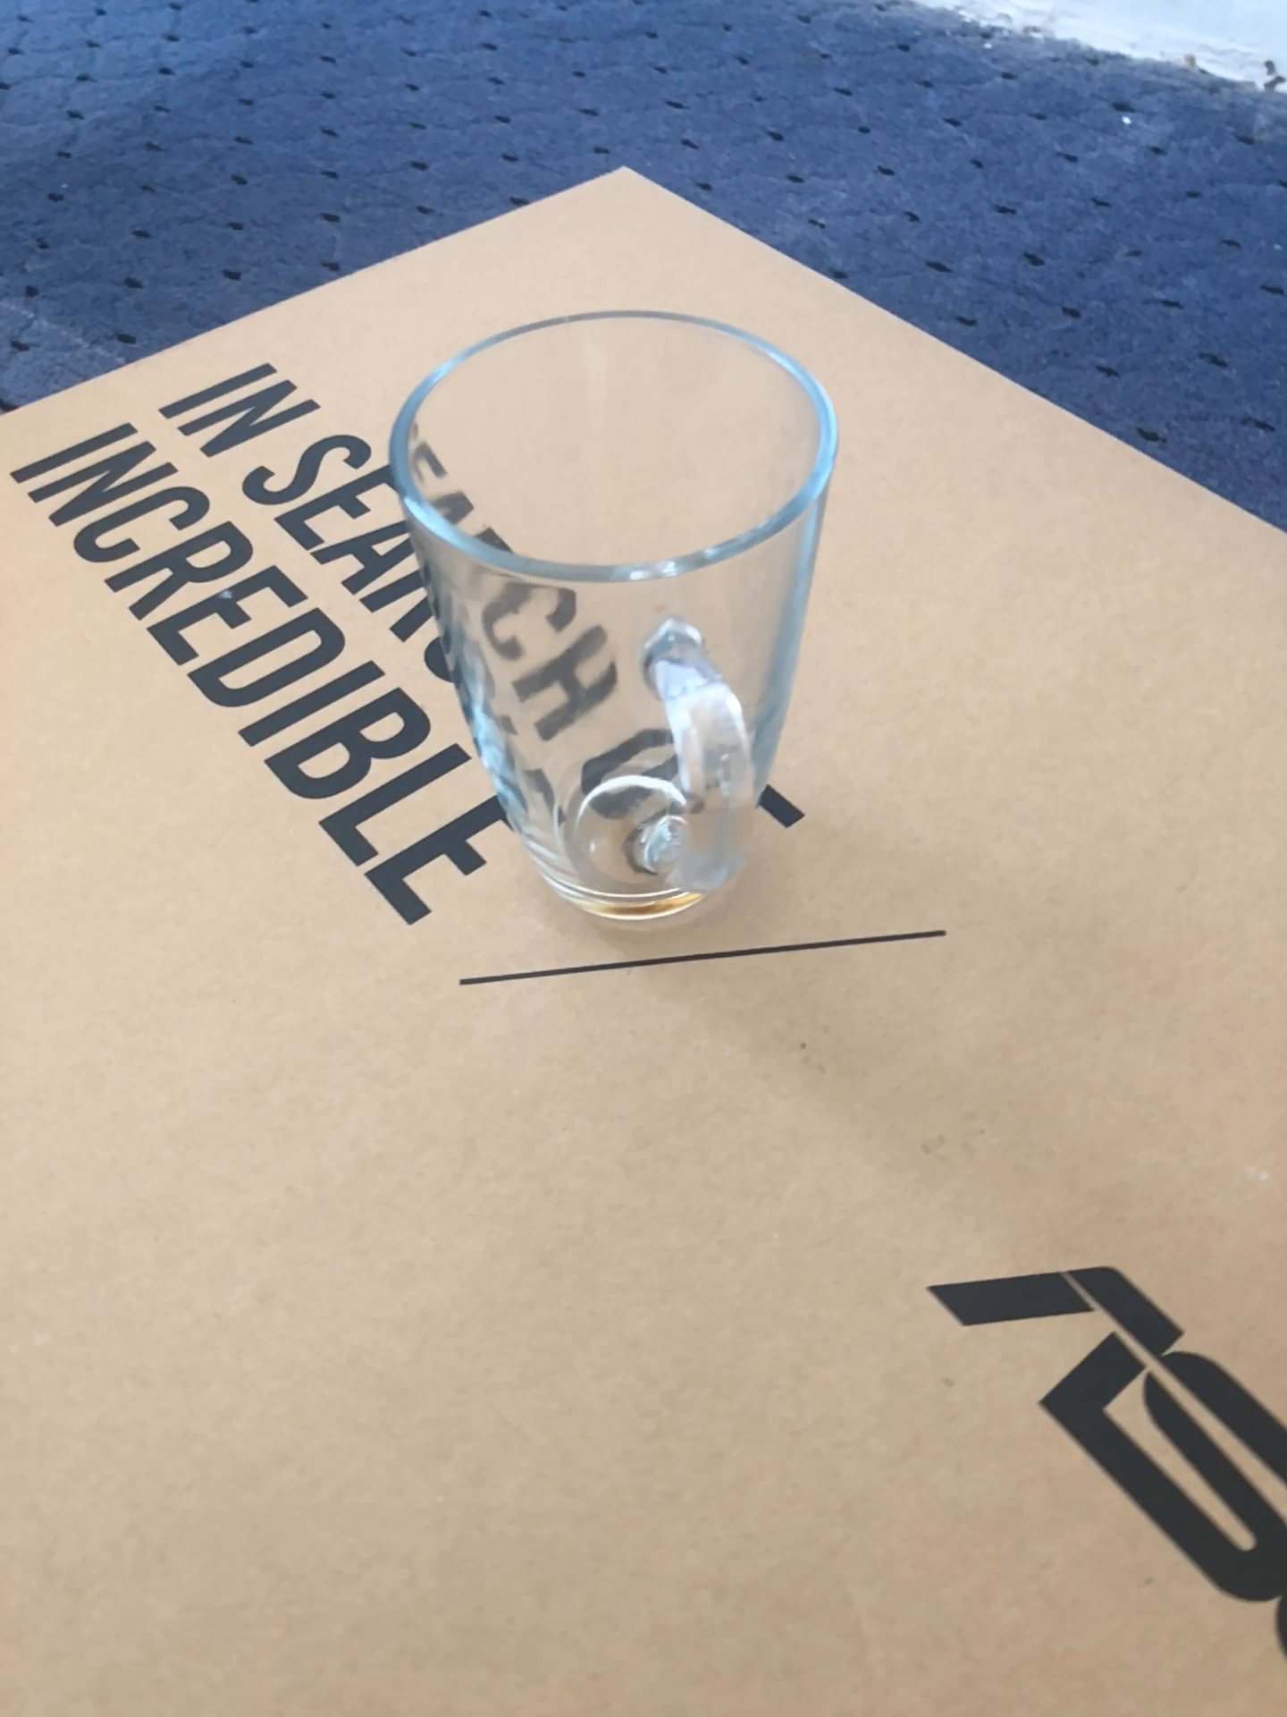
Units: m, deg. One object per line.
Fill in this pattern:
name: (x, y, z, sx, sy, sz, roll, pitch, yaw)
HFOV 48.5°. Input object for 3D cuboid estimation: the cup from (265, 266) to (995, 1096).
cup: (-0.007, -0.037, 0.273, 0.080, 0.090, 0.110, -22, 53, -18)
